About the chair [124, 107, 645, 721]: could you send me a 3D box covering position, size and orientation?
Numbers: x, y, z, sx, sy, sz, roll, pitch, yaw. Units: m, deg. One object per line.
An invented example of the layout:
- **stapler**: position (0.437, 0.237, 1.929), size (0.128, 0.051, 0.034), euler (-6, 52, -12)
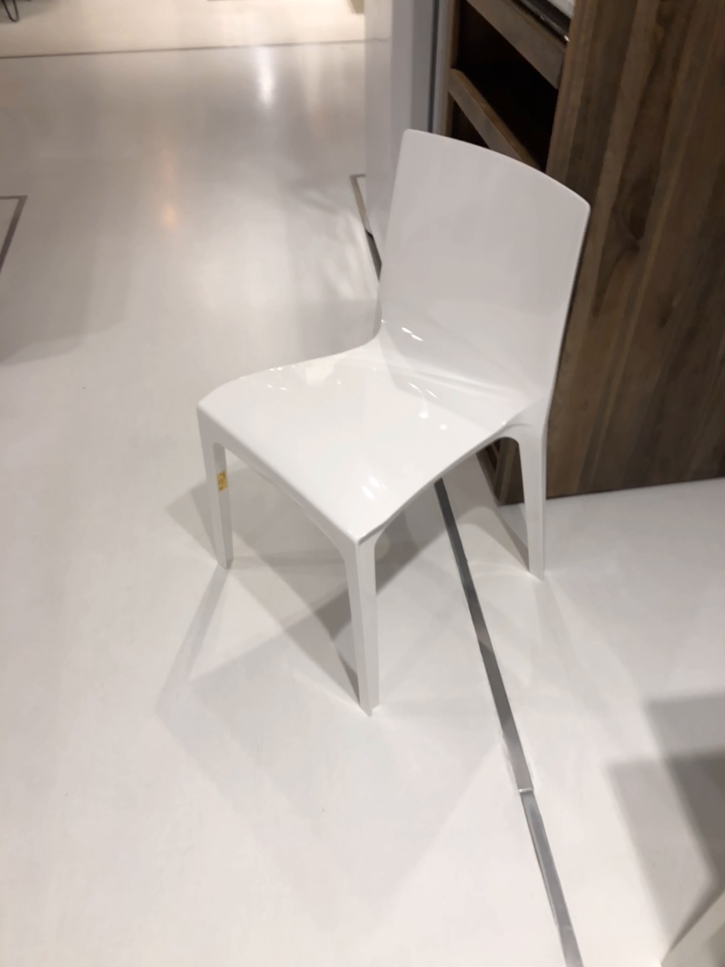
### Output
- **chair**: position (0.031, -0.111, 1.347), size (0.522, 0.754, 0.482), euler (-33, 54, -28)
